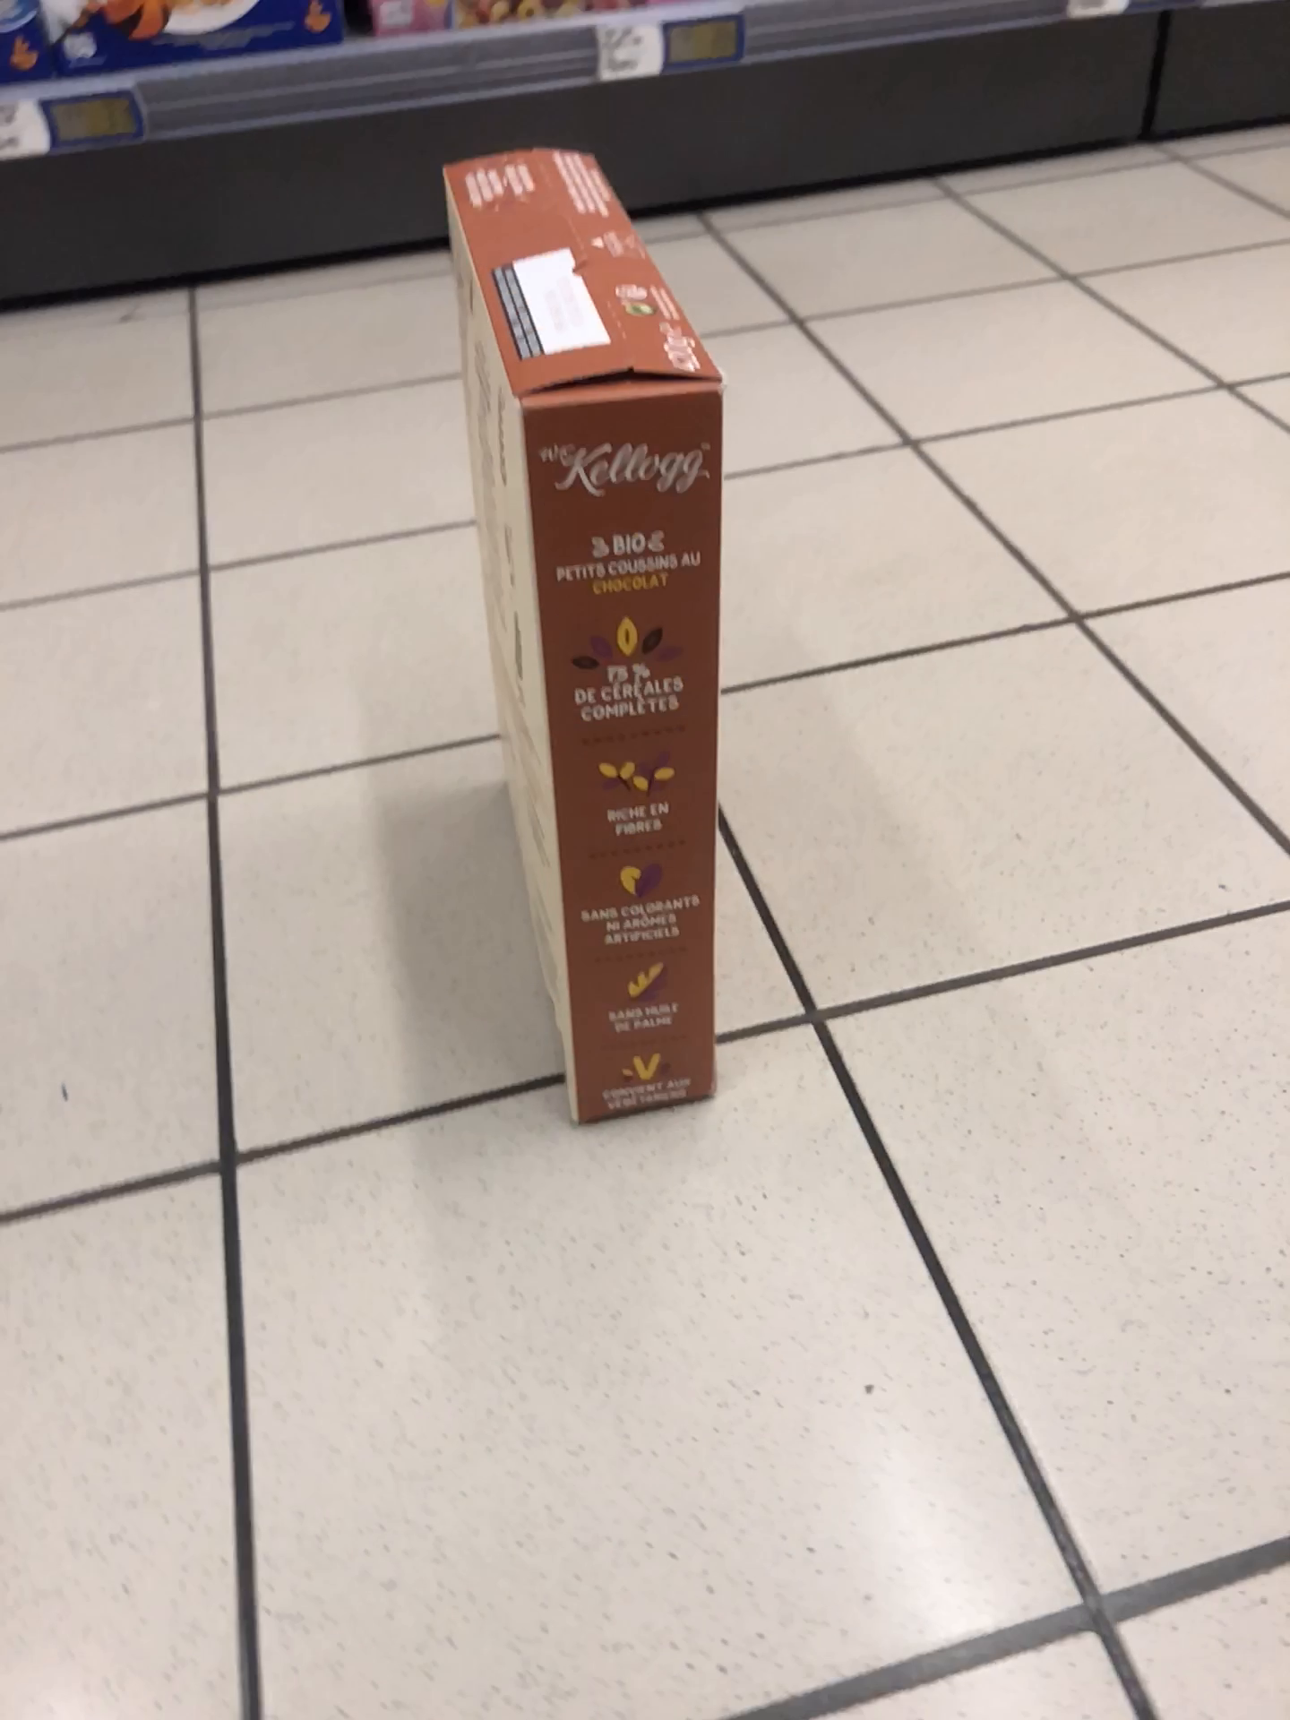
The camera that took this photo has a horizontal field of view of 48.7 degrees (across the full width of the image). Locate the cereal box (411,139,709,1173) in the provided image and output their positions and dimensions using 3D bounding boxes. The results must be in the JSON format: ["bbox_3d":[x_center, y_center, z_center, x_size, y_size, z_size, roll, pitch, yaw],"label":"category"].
[{"bbox_3d":[-0.029,-0.064,0.447,0.050,0.248,0.201,-7,40,-8],"label":"cereal box"}]
